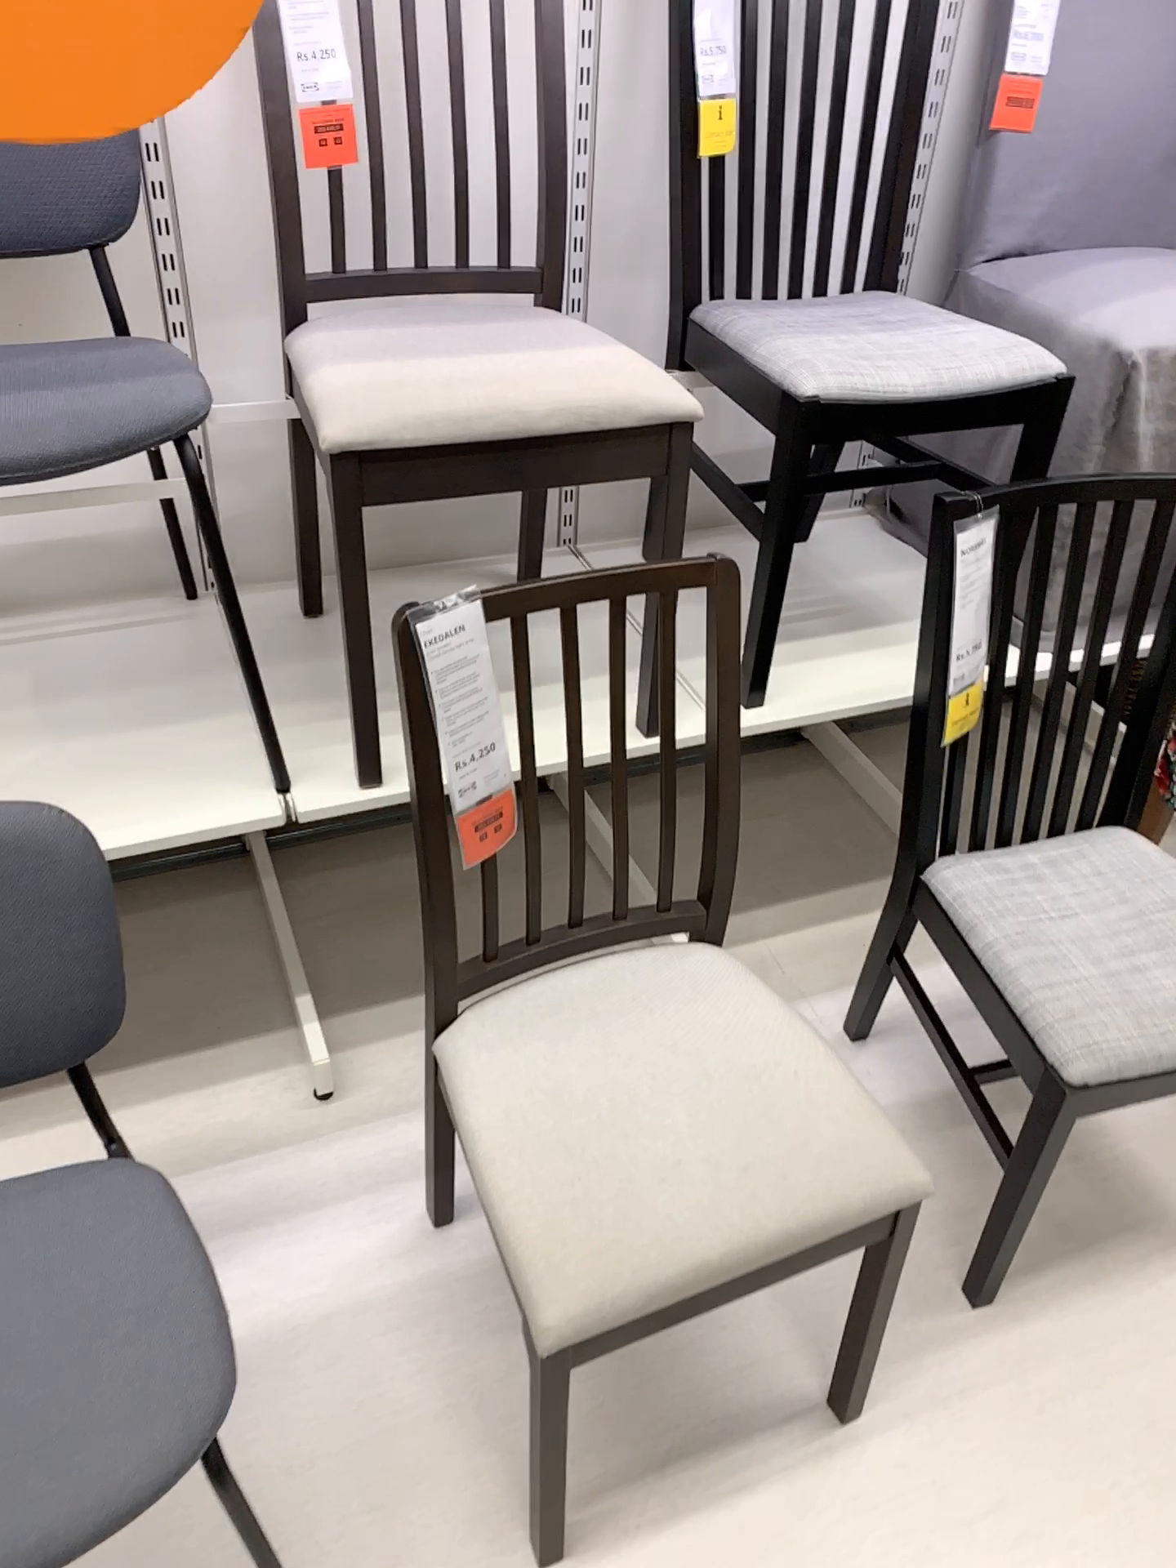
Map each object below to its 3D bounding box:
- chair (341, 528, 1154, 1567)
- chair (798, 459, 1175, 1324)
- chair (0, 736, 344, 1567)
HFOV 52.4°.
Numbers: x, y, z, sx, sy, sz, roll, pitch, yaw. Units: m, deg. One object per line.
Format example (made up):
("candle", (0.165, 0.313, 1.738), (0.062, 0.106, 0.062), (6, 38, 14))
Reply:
("chair", (0.076, 0.294, 1.276), (0.480, 0.916, 0.532), (-13, 39, -20))
("chair", (0.669, 0.141, 1.536), (0.480, 0.916, 0.532), (-8, 38, -15))
("chair", (-0.622, 0.505, 1.082), (0.570, 0.786, 0.612), (-15, 40, -23))
